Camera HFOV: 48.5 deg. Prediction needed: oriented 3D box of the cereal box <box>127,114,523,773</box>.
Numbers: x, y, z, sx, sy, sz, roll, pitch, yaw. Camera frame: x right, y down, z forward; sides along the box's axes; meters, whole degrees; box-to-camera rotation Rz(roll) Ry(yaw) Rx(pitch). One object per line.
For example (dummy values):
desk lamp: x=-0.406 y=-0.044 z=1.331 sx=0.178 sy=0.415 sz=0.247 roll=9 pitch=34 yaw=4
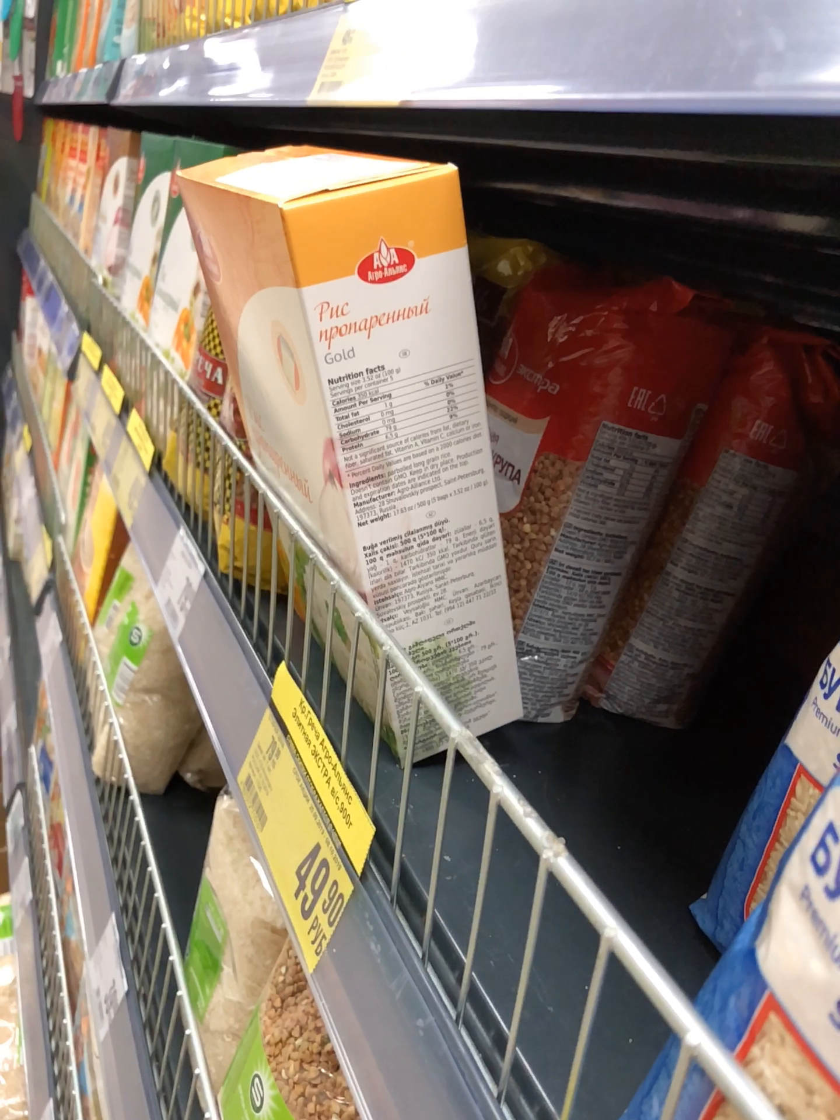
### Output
cereal box: x=-0.034 y=-0.048 z=0.331 sx=0.060 sy=0.189 sz=0.140 roll=-20 pitch=32 yaw=-17
